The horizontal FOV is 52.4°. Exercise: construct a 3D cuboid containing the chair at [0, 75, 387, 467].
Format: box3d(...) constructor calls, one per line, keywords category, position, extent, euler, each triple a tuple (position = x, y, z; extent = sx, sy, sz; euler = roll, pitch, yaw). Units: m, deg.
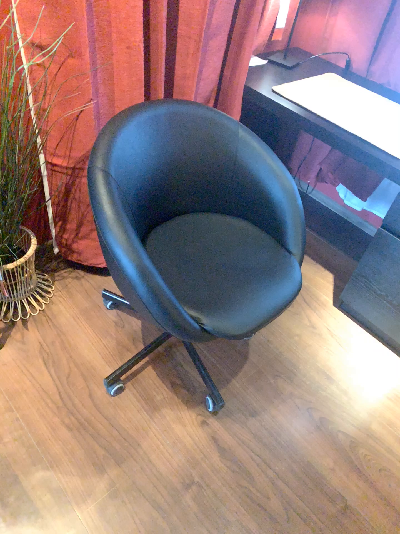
box3d(category="chair", position=(-0.049, -0.020, 1.248), extent=(0.671, 0.757, 0.672), euler=(39, 50, 24))
